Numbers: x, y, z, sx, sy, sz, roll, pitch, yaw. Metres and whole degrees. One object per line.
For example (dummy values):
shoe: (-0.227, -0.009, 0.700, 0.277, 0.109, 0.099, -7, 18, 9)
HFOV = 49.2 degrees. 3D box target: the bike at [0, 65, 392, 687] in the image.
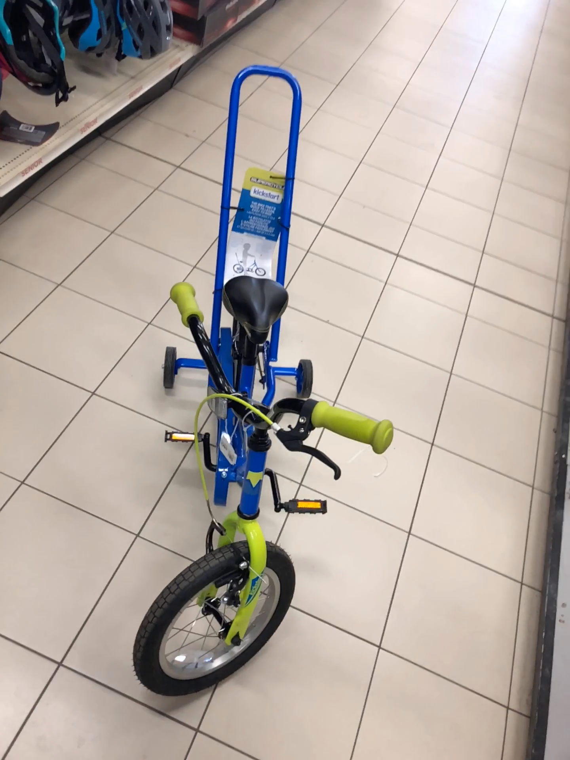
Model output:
bike: (-0.187, -0.009, 1.232, 0.538, 0.763, 0.957, 13, 47, -4)
